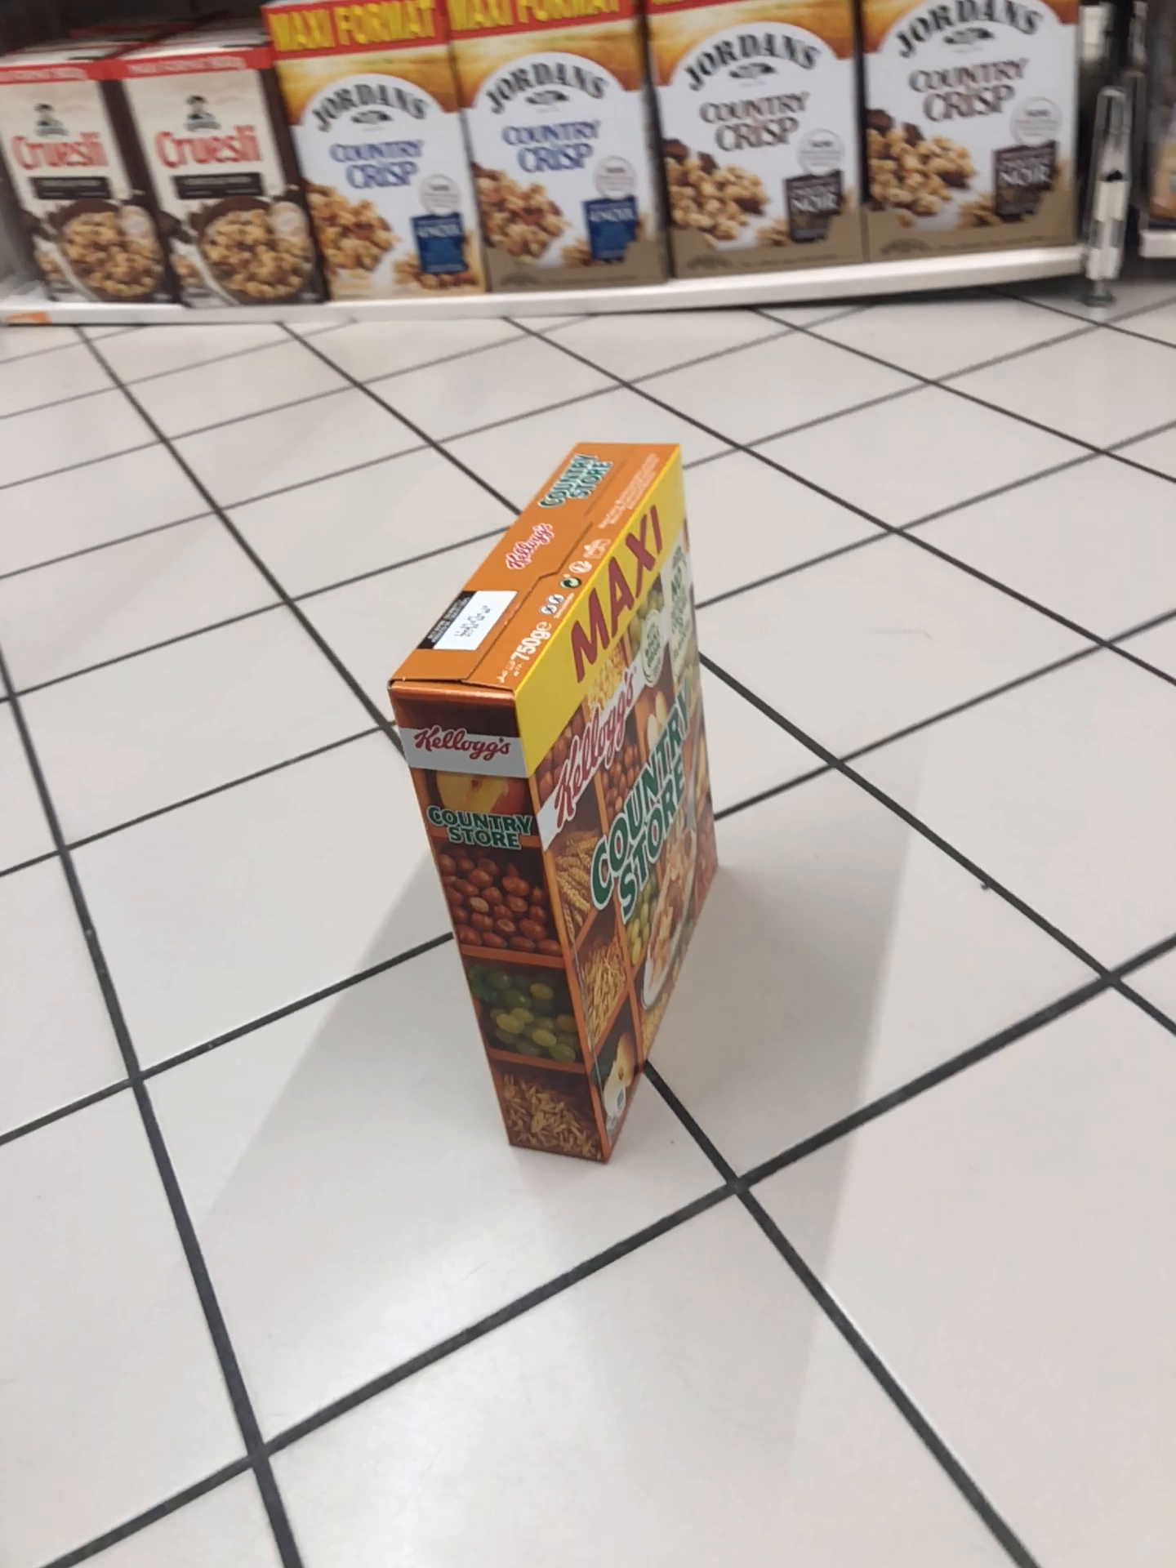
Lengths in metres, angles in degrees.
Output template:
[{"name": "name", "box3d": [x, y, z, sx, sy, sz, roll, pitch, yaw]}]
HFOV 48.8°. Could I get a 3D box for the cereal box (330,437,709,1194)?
[{"name": "cereal box", "box3d": [-0.009, 0.009, 0.543, 0.060, 0.239, 0.201, 5, 39, 18]}]
